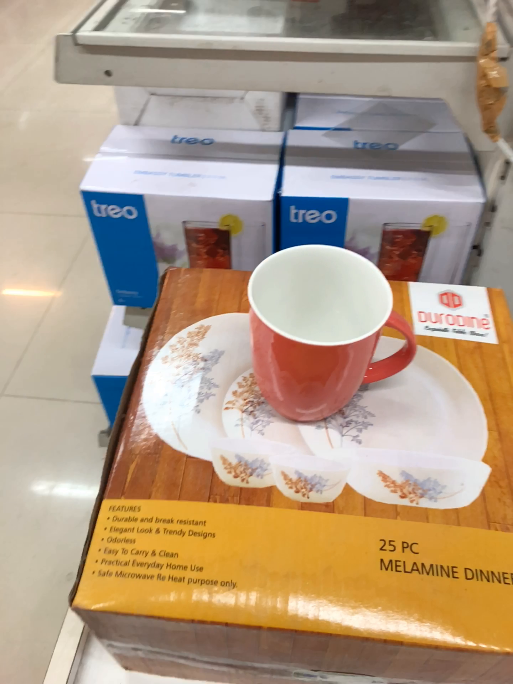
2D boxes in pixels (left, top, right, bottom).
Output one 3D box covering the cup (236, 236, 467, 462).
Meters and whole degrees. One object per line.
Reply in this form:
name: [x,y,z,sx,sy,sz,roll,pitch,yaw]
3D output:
cup: [0.057,0.004,0.363,0.120,0.099,0.091,5,47,8]
